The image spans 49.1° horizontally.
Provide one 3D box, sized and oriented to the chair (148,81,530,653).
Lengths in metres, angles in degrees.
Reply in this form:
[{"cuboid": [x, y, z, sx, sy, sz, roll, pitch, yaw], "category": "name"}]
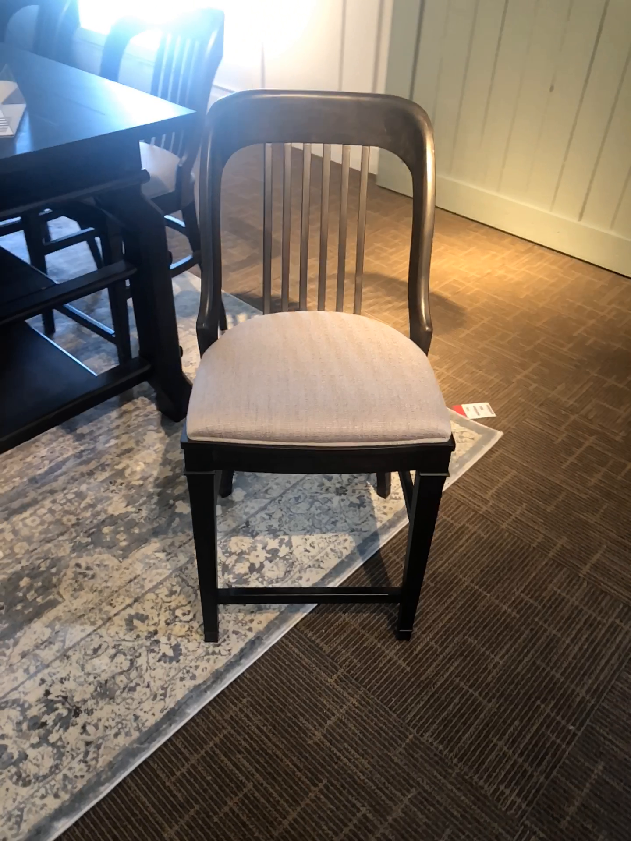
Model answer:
[{"cuboid": [-0.001, -0.074, 1.395, 0.480, 0.985, 0.573, -1, 39, -4], "category": "chair"}]
